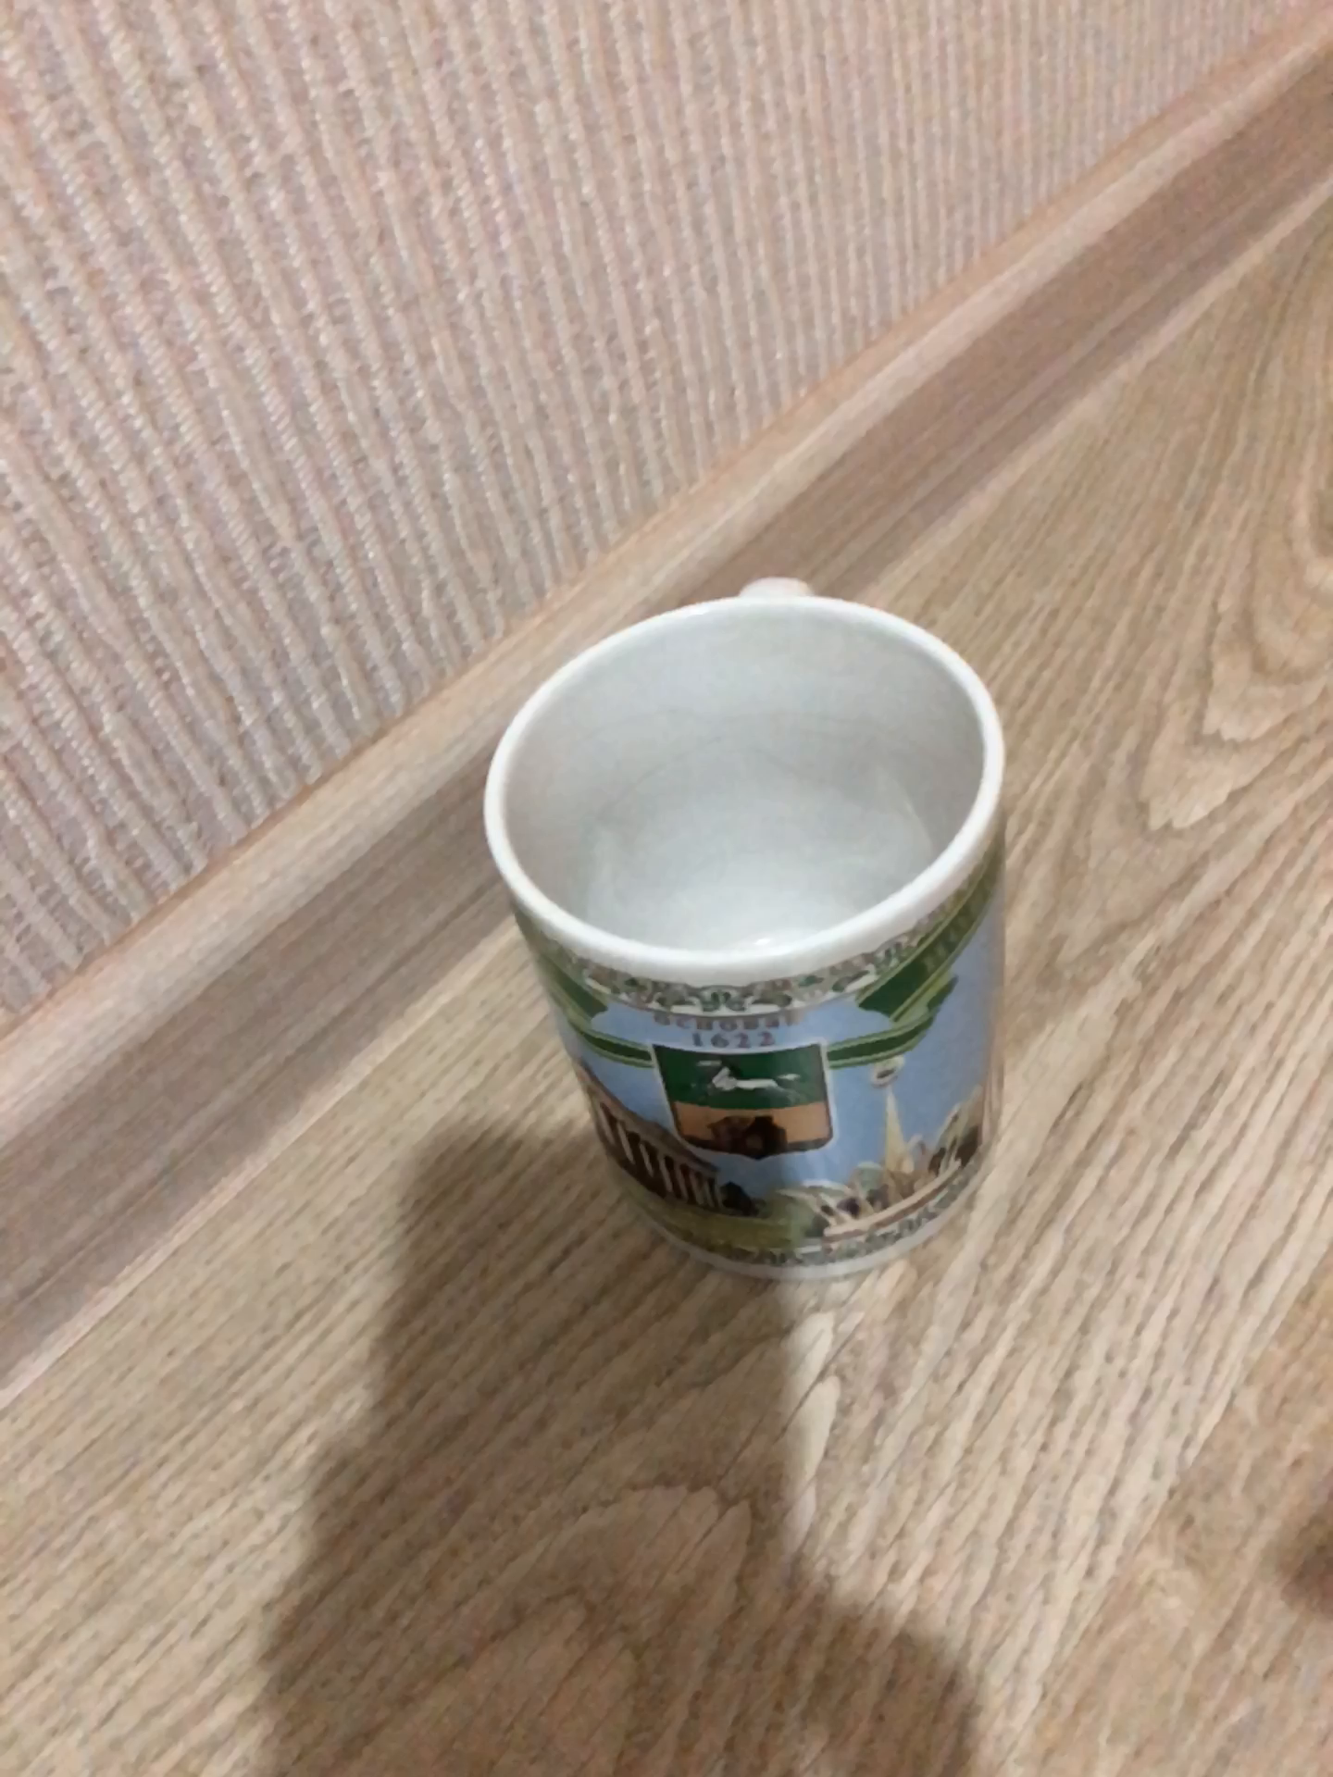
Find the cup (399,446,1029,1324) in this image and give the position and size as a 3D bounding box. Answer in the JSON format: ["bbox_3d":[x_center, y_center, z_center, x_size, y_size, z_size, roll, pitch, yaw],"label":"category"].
[{"bbox_3d":[0.022,-0.003,0.270,0.082,0.096,0.122,1,48,15],"label":"cup"}]
